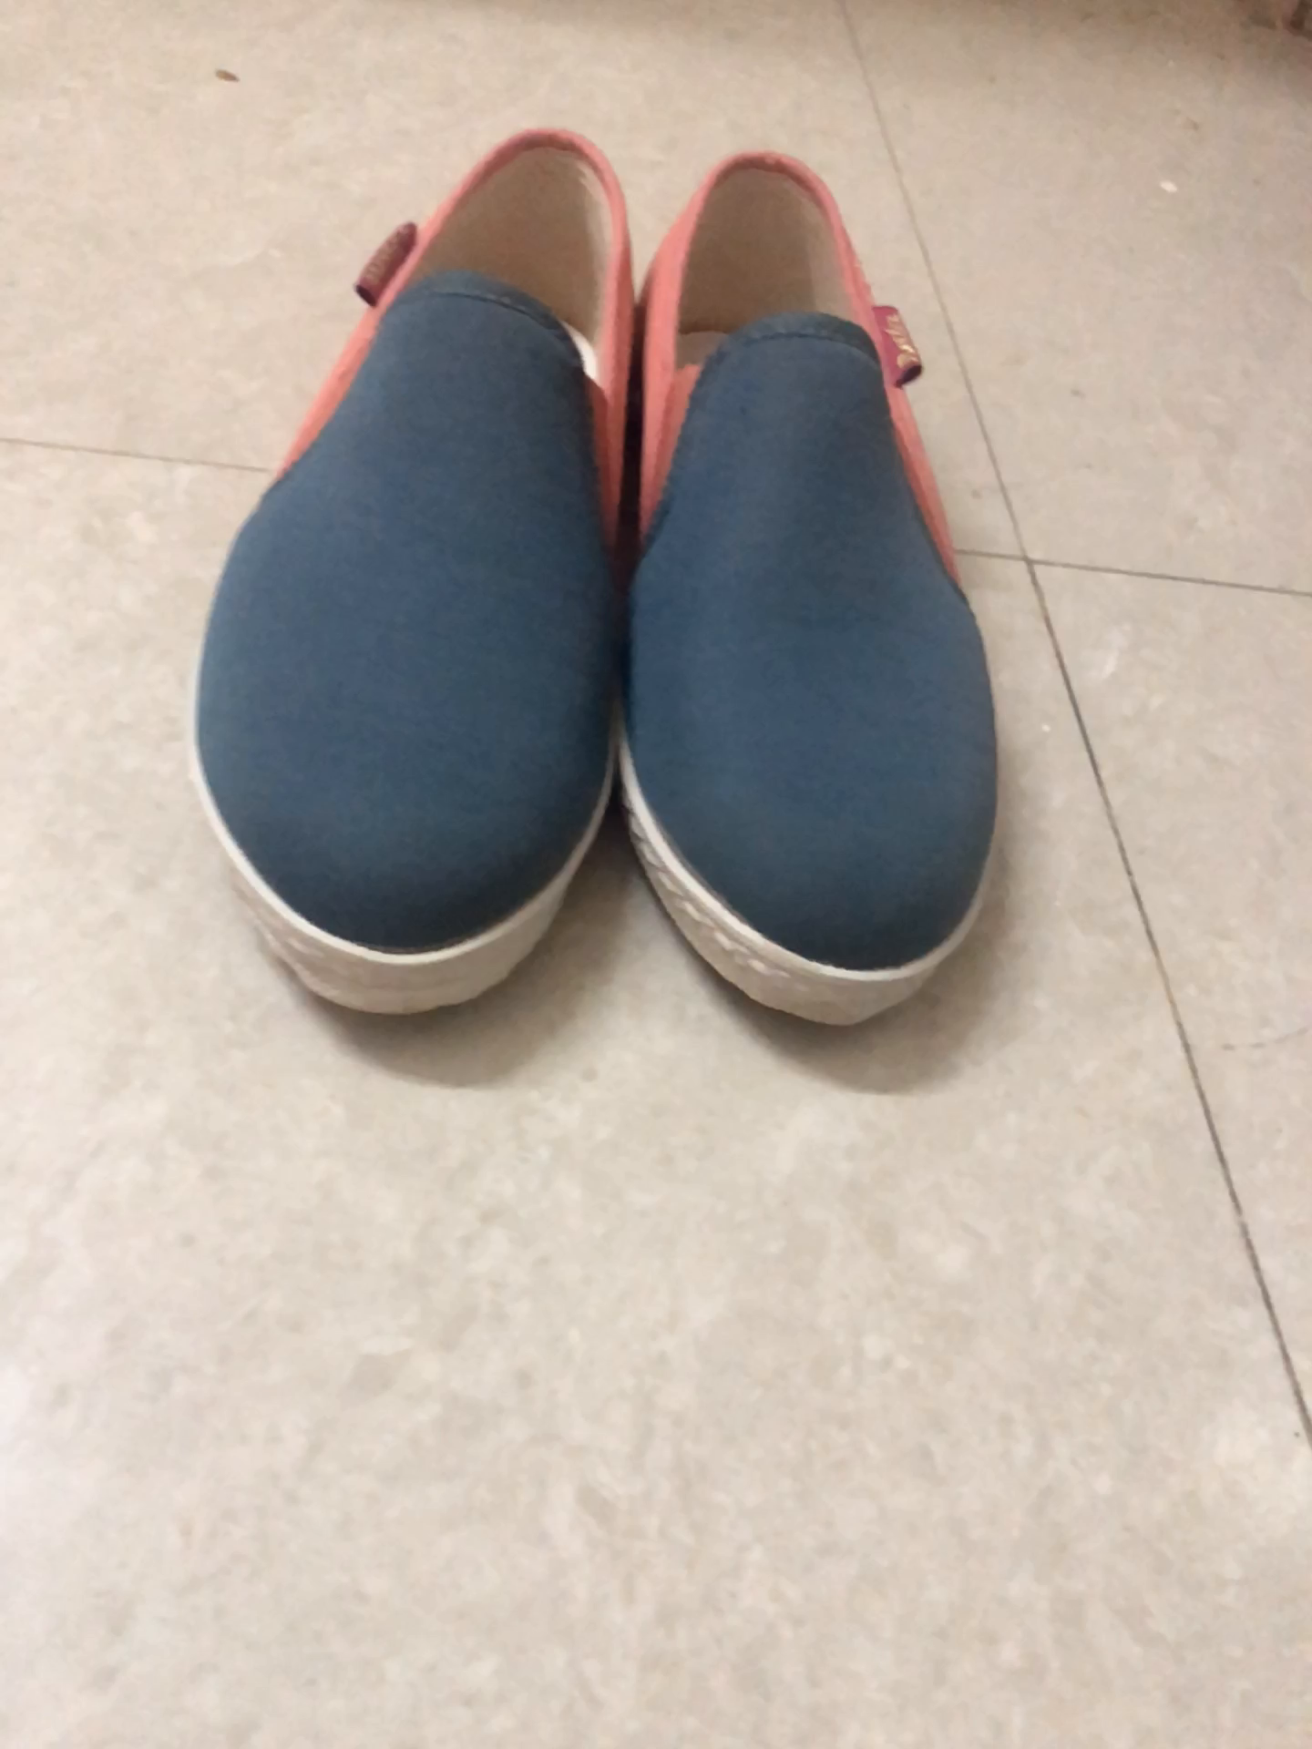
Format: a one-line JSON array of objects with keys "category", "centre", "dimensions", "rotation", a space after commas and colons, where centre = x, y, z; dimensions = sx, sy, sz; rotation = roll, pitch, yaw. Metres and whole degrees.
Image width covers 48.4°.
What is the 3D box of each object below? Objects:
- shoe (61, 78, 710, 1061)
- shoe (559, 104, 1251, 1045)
[{"category": "shoe", "centre": [-0.040, -0.077, 0.299], "dimensions": [0.090, 0.060, 0.221], "rotation": [8, 50, -7]}, {"category": "shoe", "centre": [0.033, -0.075, 0.307], "dimensions": [0.090, 0.060, 0.221], "rotation": [3, 50, -11]}]
